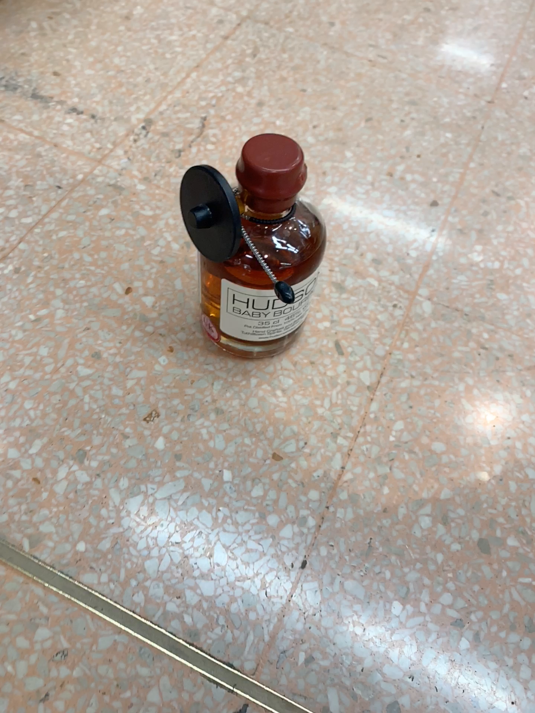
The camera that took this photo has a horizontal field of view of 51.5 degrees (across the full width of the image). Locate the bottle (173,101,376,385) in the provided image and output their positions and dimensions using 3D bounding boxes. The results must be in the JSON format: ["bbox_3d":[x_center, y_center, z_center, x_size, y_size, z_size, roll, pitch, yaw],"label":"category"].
[{"bbox_3d":[-0.004,-0.061,0.338,0.075,0.142,0.073,3,58,-5],"label":"bottle"}]
